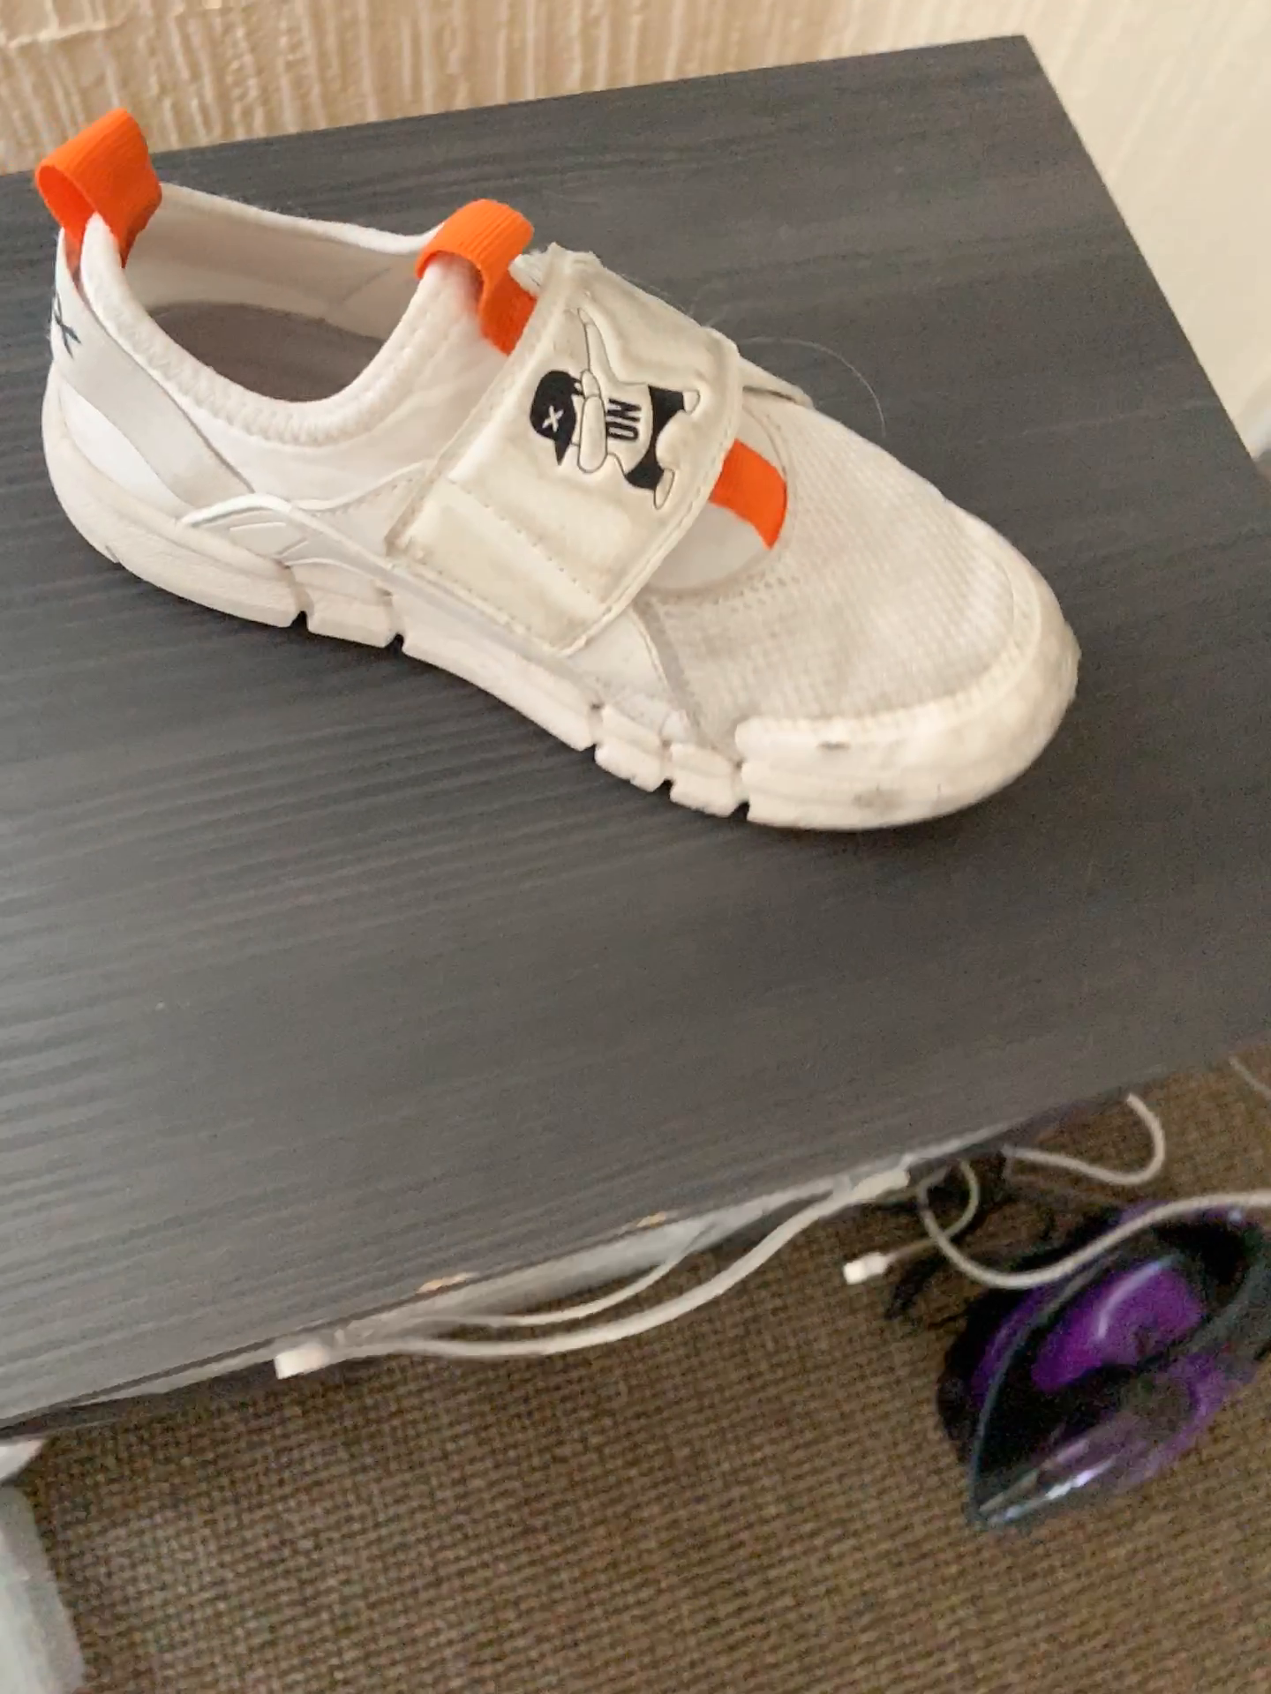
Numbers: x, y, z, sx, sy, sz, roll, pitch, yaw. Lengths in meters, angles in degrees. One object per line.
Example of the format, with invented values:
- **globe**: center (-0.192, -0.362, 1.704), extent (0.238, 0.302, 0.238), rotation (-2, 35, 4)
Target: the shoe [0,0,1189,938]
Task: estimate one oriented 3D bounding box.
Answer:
- **shoe**: center (-0.019, -0.078, 0.269), extent (0.222, 0.070, 0.100), rotation (22, 68, 3)
